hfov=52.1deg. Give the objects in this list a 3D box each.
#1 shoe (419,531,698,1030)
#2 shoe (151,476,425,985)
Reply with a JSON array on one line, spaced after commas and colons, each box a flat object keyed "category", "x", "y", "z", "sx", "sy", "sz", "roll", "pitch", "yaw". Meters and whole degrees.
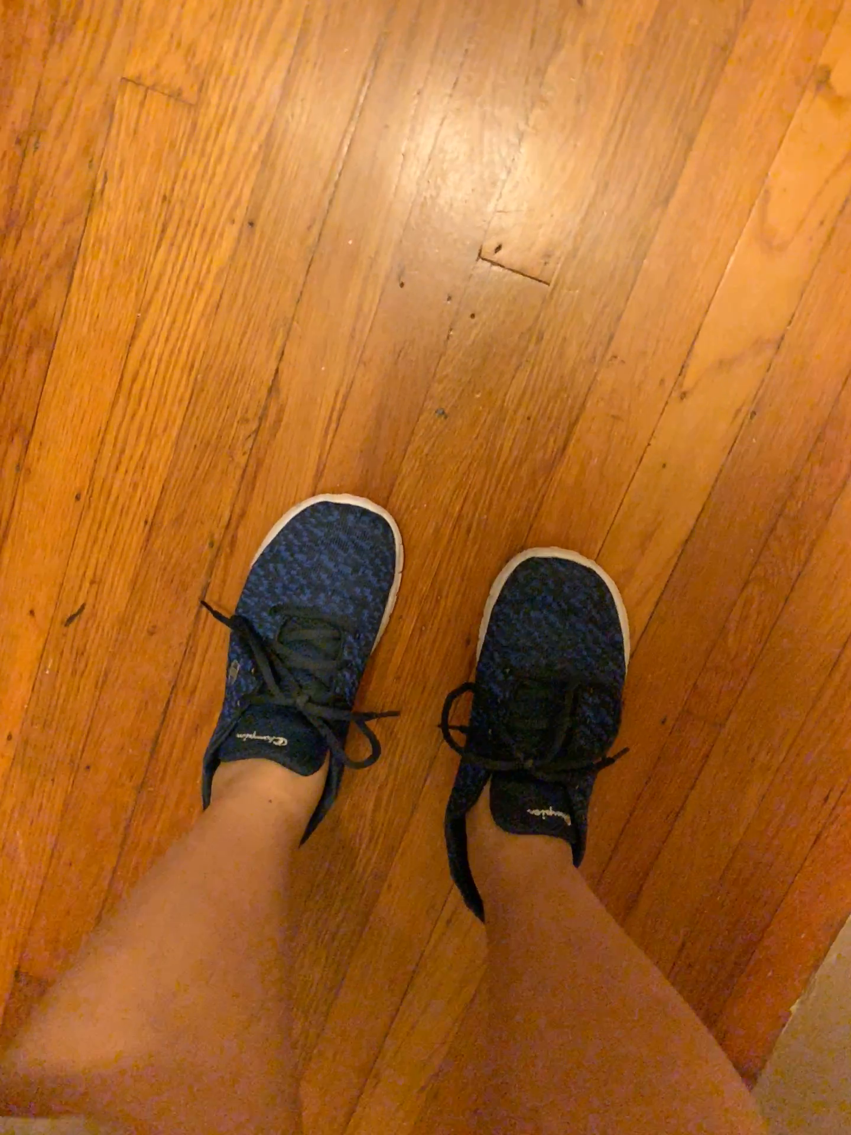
[{"category": "shoe", "x": 0.078, "y": 0.133, "z": 0.580, "sx": 0.117, "sy": 0.130, "sz": 0.280, "roll": 9, "pitch": 104, "yaw": 2}, {"category": "shoe", "x": -0.088, "y": 0.099, "z": 0.594, "sx": 0.115, "sy": 0.150, "sz": 0.291, "roll": 11, "pitch": 104, "yaw": 2}]
